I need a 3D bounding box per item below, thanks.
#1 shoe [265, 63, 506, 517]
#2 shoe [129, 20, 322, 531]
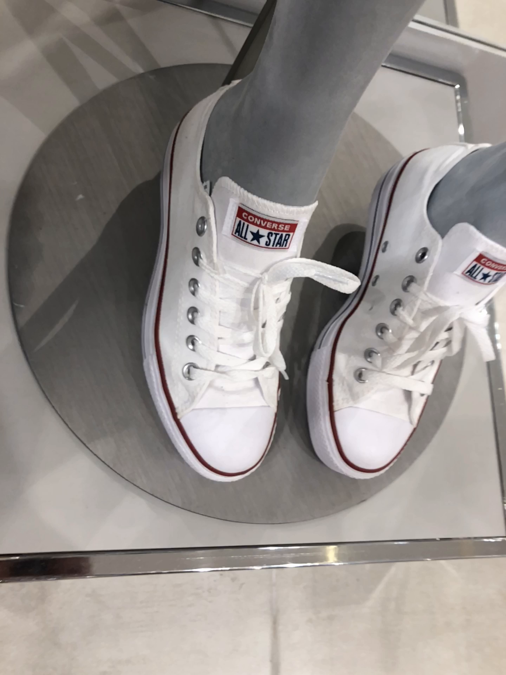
[{"bbox_3d":[0.104,-0.029,0.413,0.110,0.090,0.280,14,85,-16],"label":"shoe"},{"bbox_3d":[-0.022,-0.033,0.357,0.100,0.090,0.270,0,90,-20],"label":"shoe"}]
